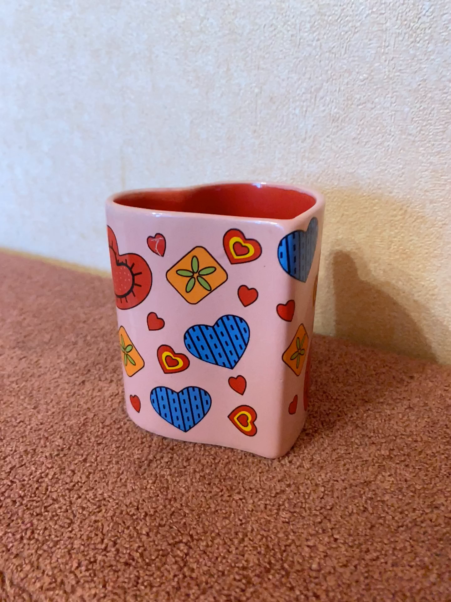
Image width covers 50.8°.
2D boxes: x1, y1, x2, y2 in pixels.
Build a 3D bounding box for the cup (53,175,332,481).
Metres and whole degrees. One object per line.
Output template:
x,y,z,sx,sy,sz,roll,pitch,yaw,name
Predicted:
-0.004,0.002,0.195,0.085,0.091,0.082,0,22,0,cup
